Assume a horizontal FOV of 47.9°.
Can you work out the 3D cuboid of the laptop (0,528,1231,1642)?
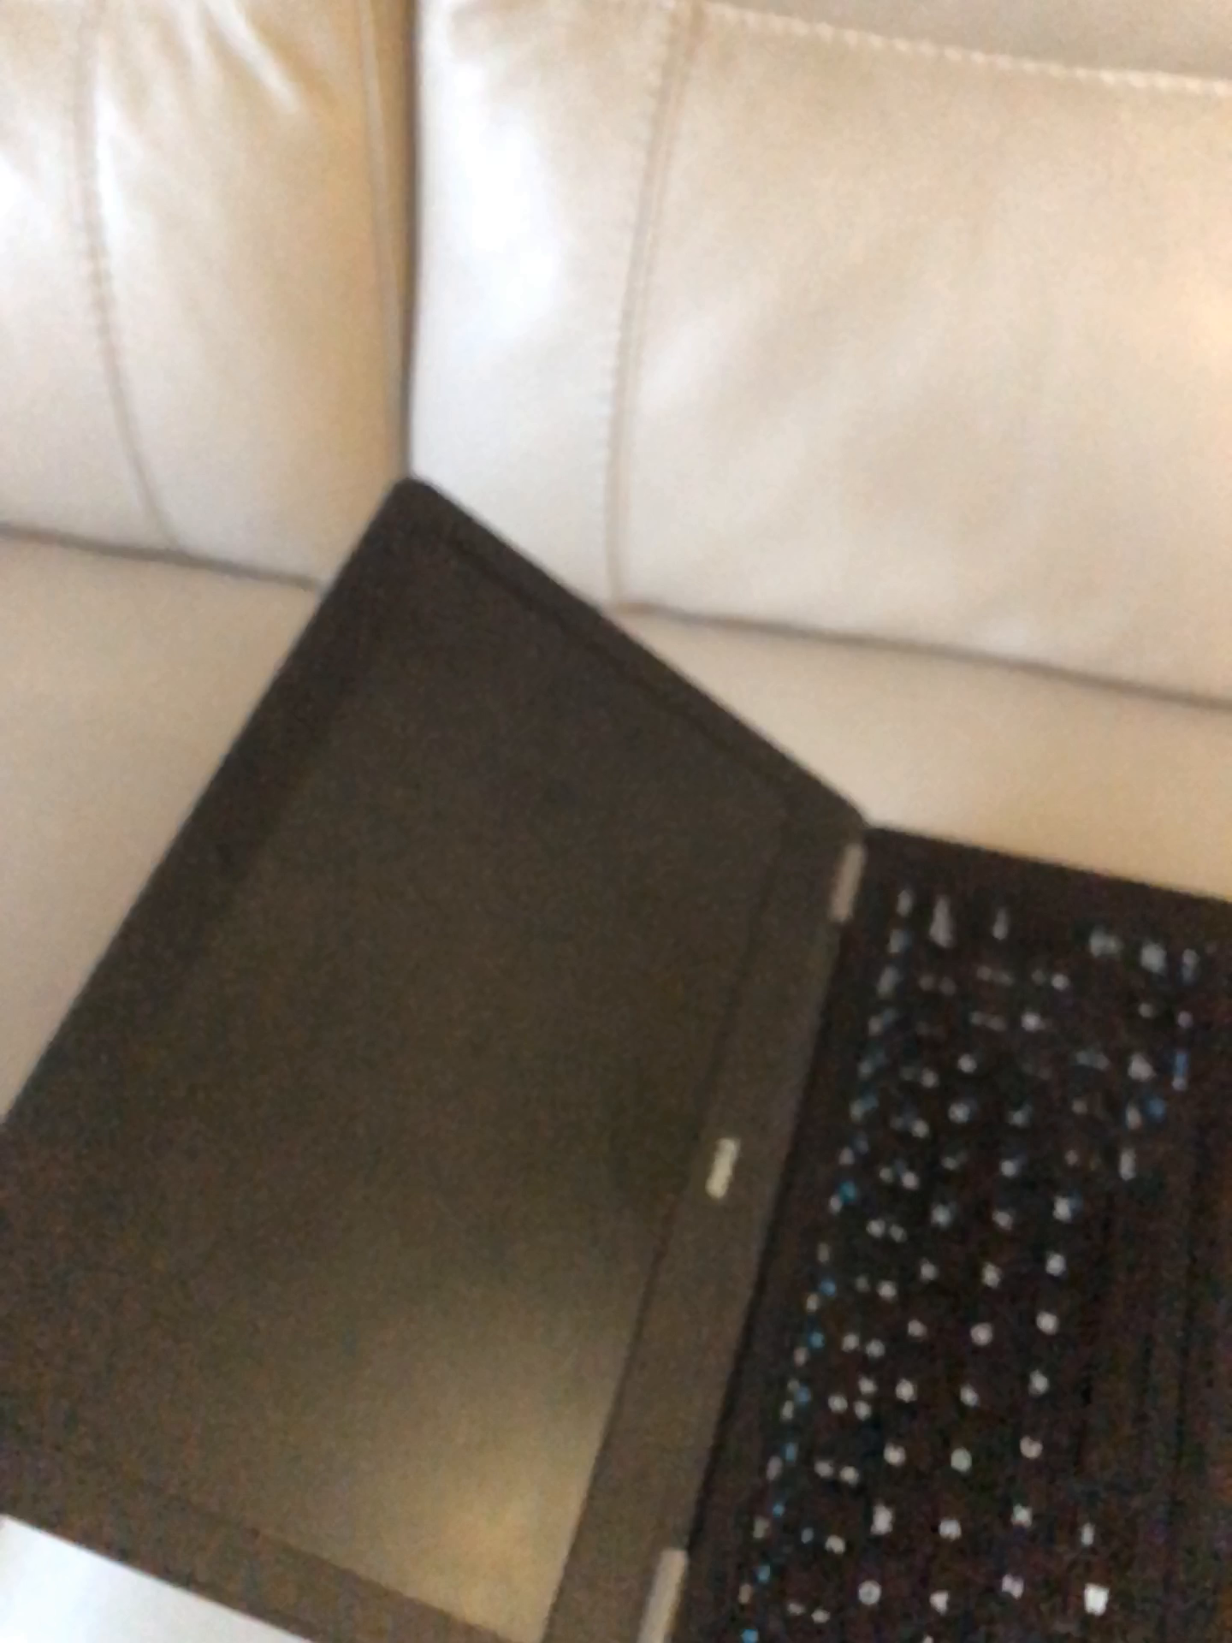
[{"bbox_3d":[0.072,0.089,0.388,0.375,0.125,0.307,12,55,14],"label":"laptop"}]
